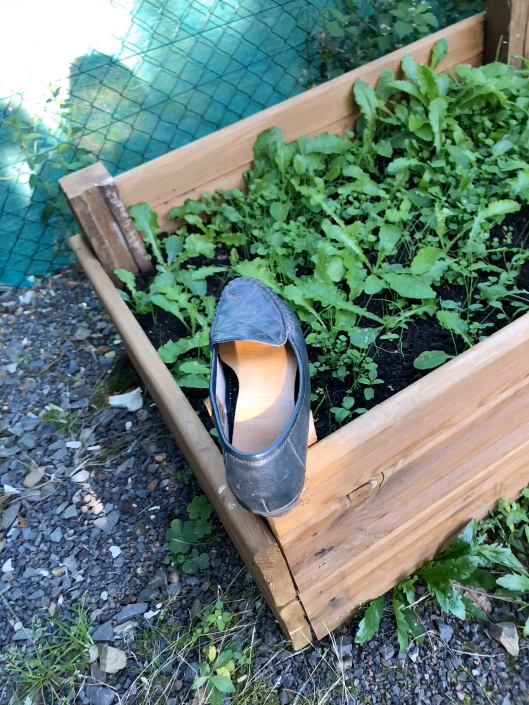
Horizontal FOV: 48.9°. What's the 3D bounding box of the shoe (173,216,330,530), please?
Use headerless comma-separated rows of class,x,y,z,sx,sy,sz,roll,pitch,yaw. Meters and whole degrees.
shoe,-0.014,0.006,0.509,0.100,0.090,0.261,-9,50,5
